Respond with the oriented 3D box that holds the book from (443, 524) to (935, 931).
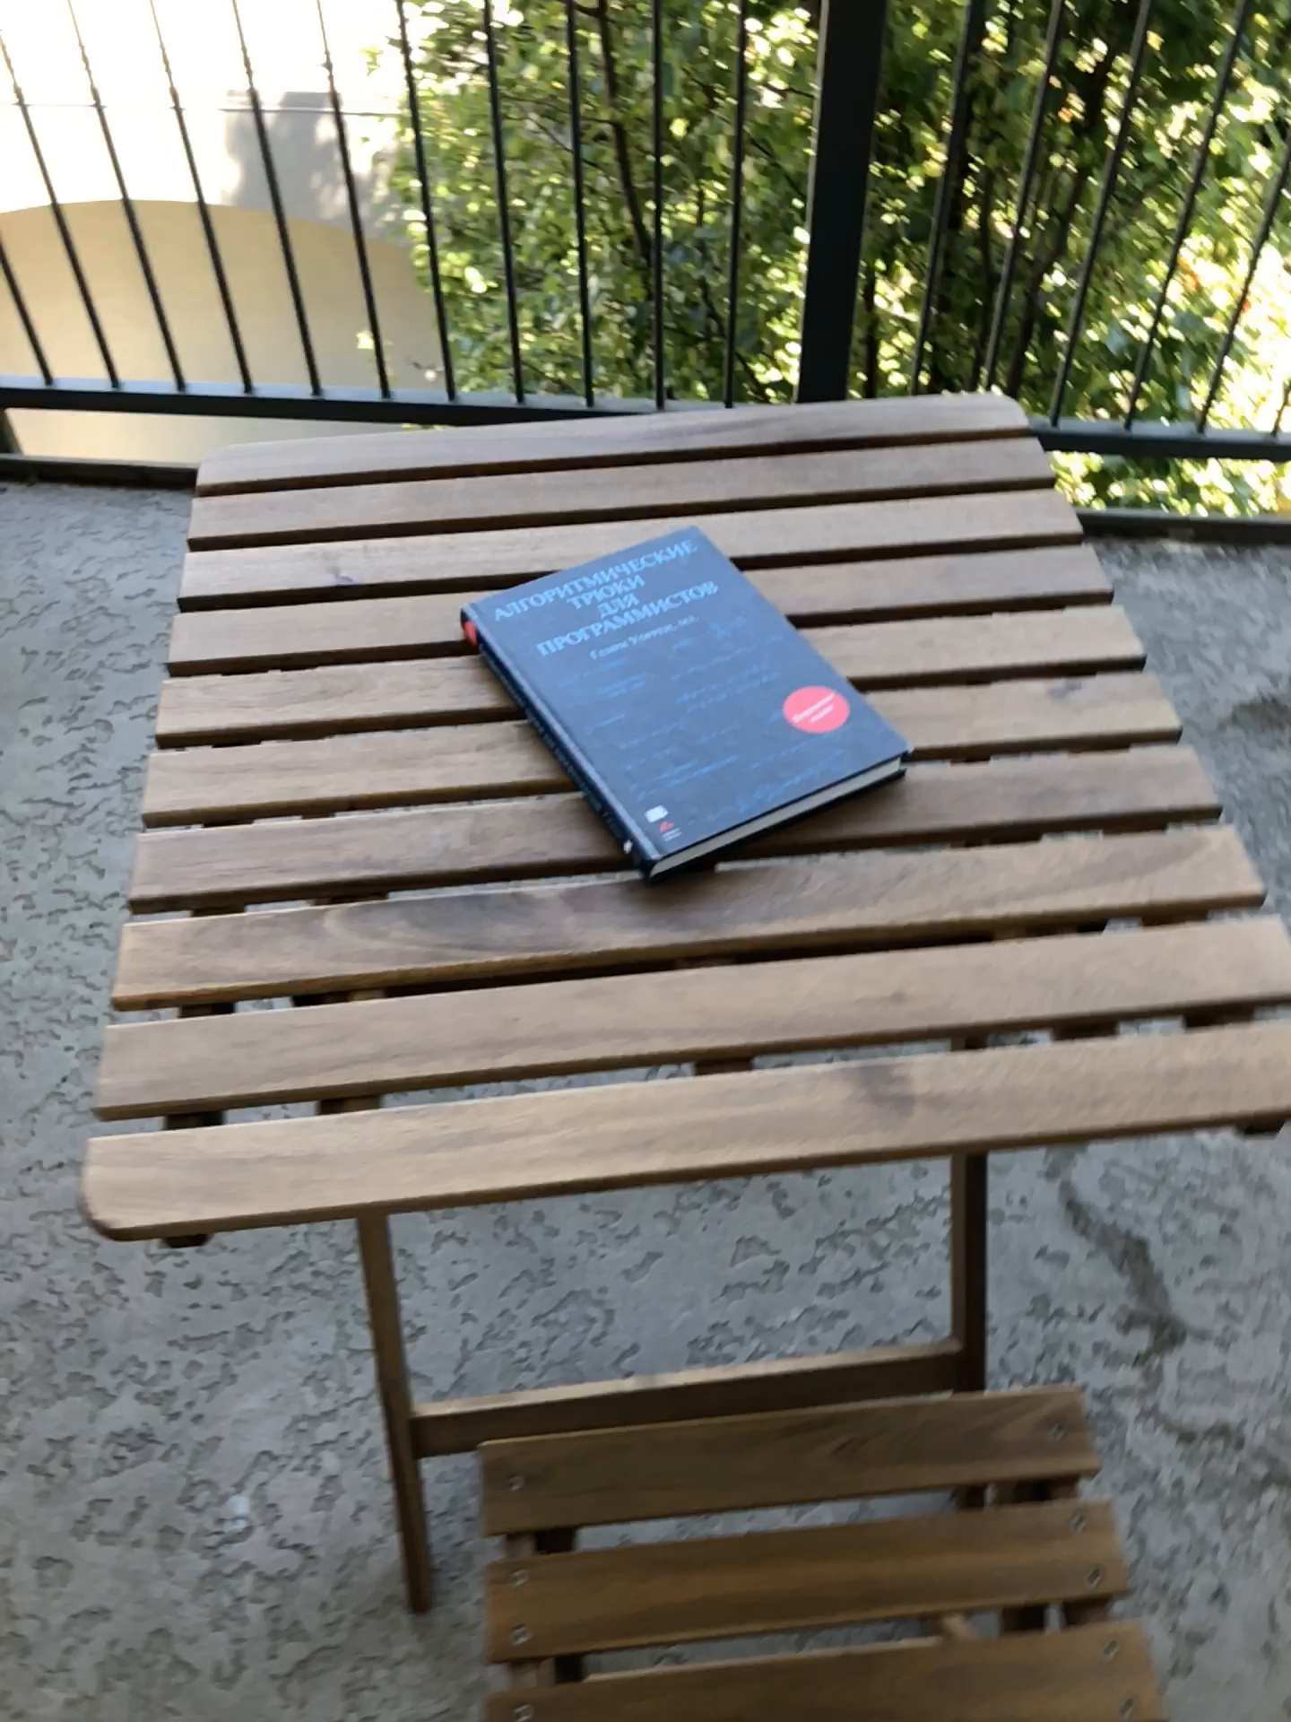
[{"bbox_3d":[0.018,-0.090,0.834,0.180,0.030,0.251,-24,53,-18],"label":"book"}]
